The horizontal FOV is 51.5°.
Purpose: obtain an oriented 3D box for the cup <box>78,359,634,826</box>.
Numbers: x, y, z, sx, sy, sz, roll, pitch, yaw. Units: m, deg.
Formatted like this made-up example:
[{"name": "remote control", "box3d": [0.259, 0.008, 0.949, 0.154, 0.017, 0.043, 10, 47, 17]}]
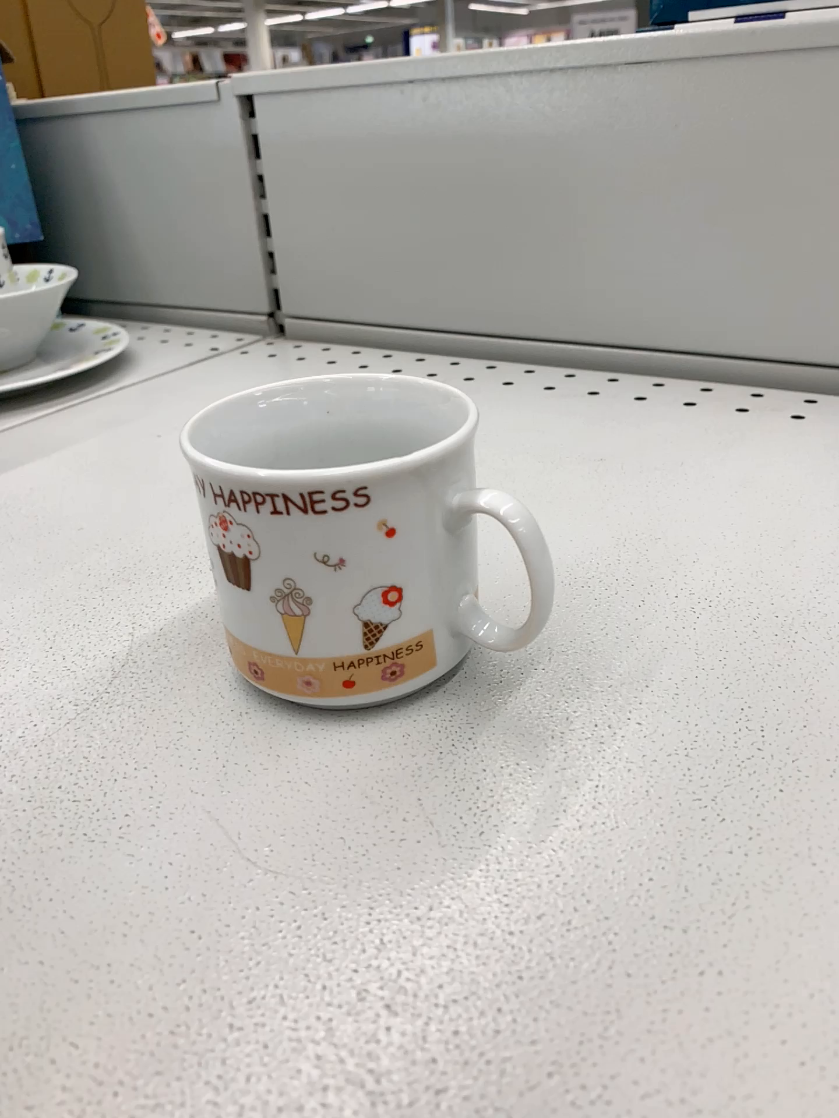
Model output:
[{"name": "cup", "box3d": [-0.013, -0.002, 0.224, 0.109, 0.069, 0.079, 15, 33, 32]}]
